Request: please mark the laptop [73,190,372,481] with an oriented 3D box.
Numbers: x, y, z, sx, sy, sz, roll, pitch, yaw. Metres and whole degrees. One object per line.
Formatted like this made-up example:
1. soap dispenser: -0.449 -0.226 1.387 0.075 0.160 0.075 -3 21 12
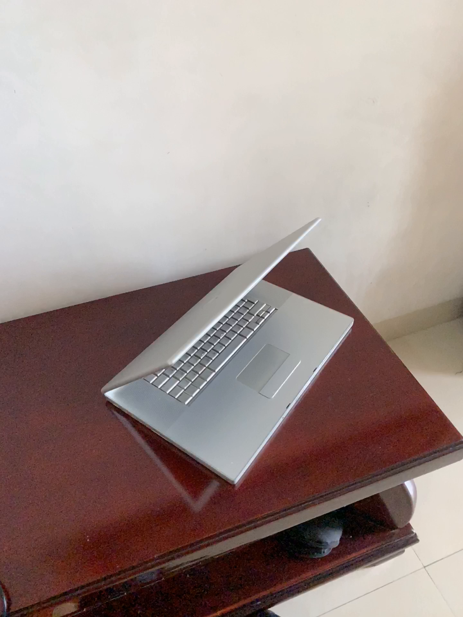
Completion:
1. laptop: 0.010 0.011 0.780 0.265 0.193 0.401 25 48 25
